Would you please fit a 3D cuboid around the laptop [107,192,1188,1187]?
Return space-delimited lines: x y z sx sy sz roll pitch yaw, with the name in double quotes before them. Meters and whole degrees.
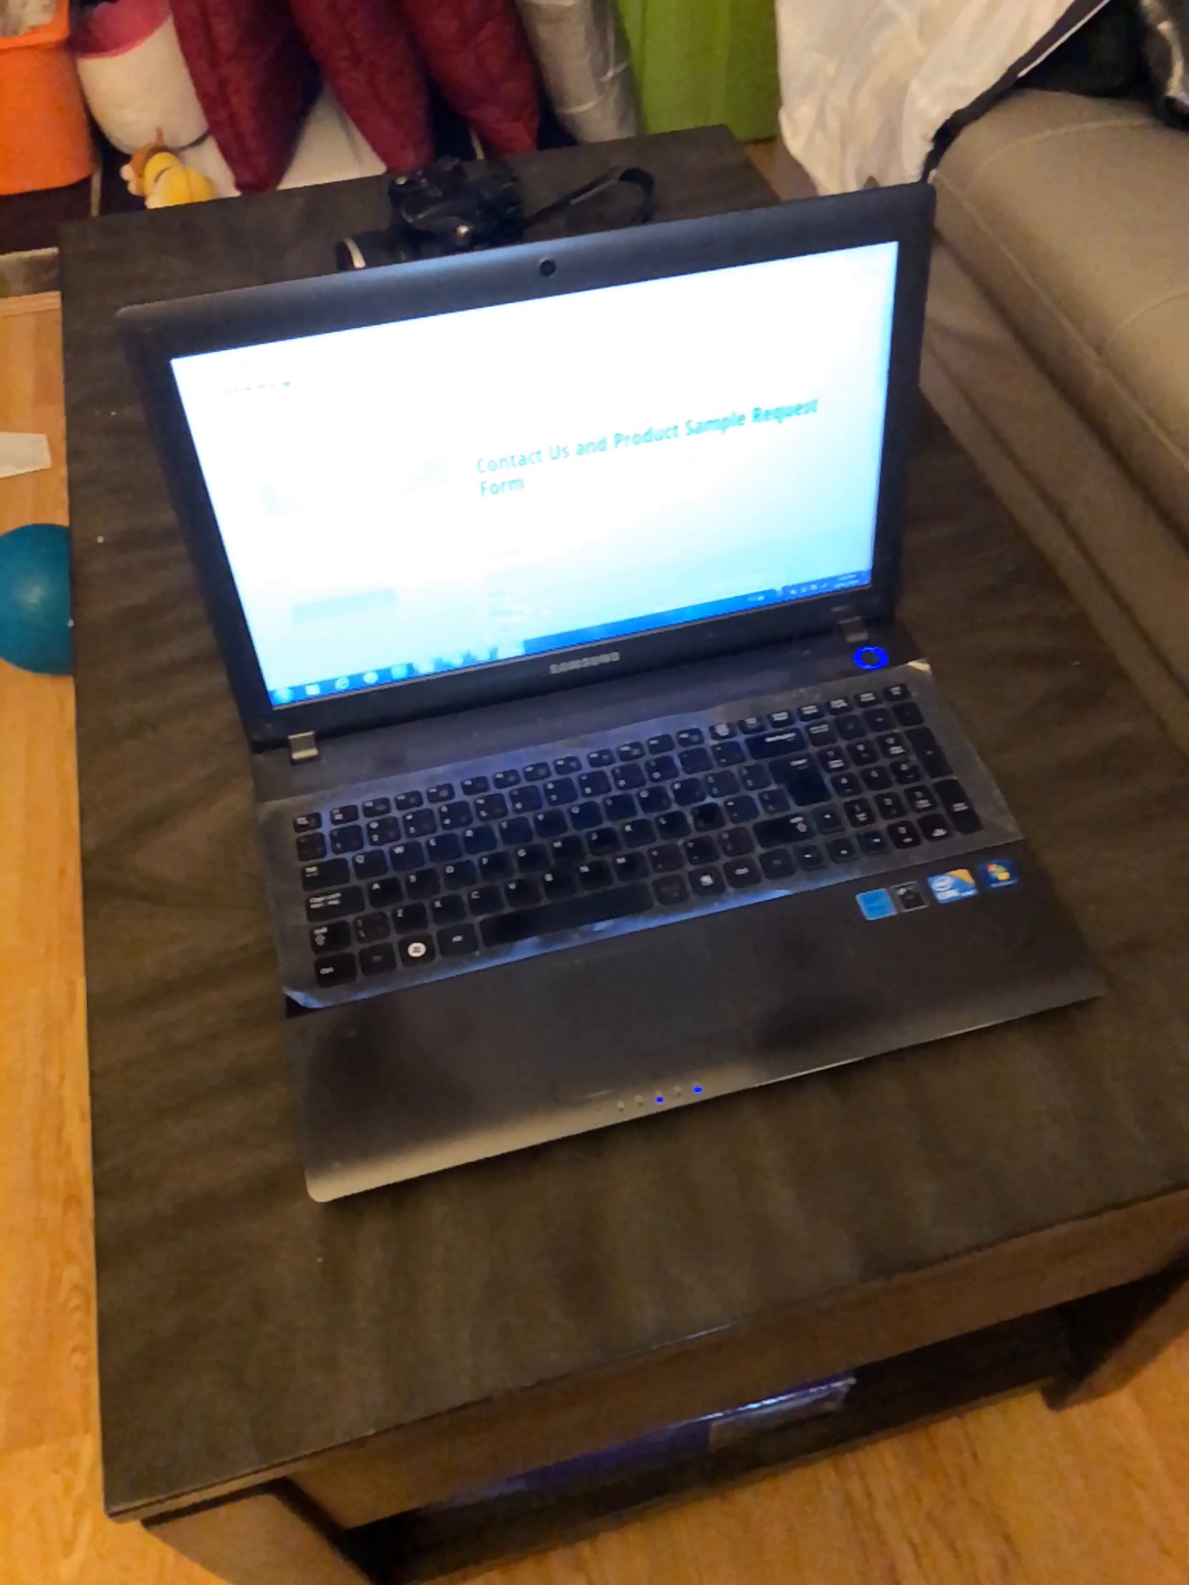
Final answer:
"laptop" 0.016 -0.058 0.582 0.367 0.231 0.310 -13 52 -10
